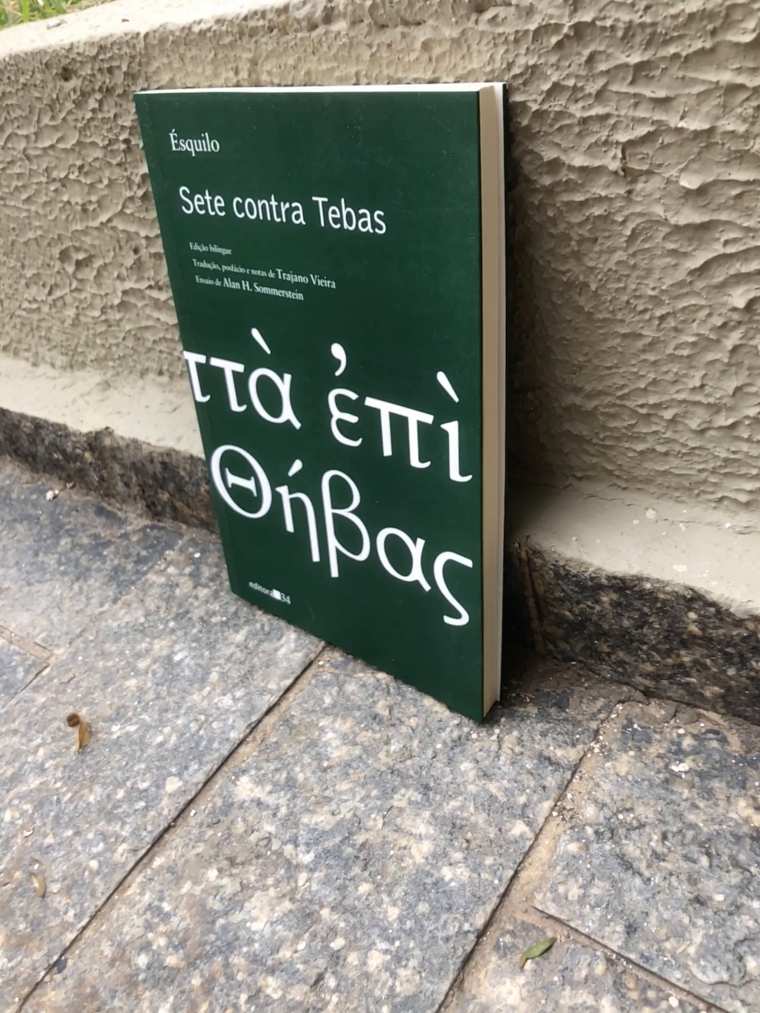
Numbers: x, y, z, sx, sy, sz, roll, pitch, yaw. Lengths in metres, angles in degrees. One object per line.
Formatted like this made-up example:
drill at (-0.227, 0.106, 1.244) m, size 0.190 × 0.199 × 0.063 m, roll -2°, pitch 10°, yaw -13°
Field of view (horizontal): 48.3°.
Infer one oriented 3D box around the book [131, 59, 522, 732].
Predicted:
book at (-0.017, -0.035, 0.285) m, size 0.140 × 0.195 × 0.020 m, roll 20°, pitch 35°, yaw 39°
